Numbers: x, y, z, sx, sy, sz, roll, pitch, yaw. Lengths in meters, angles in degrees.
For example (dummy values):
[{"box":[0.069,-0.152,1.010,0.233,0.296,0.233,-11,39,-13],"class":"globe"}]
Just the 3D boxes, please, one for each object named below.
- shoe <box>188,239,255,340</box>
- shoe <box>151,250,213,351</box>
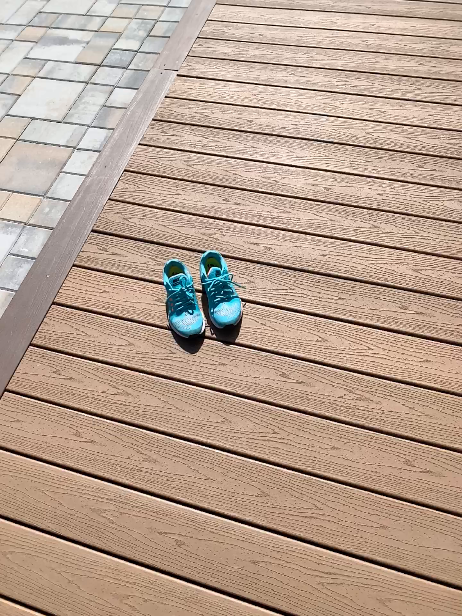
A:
[{"box":[-0.028,-0.055,1.311,0.110,0.080,0.261,-17,59,-5],"class":"shoe"},{"box":[-0.138,-0.025,1.310,0.110,0.080,0.261,-15,59,-4],"class":"shoe"}]
